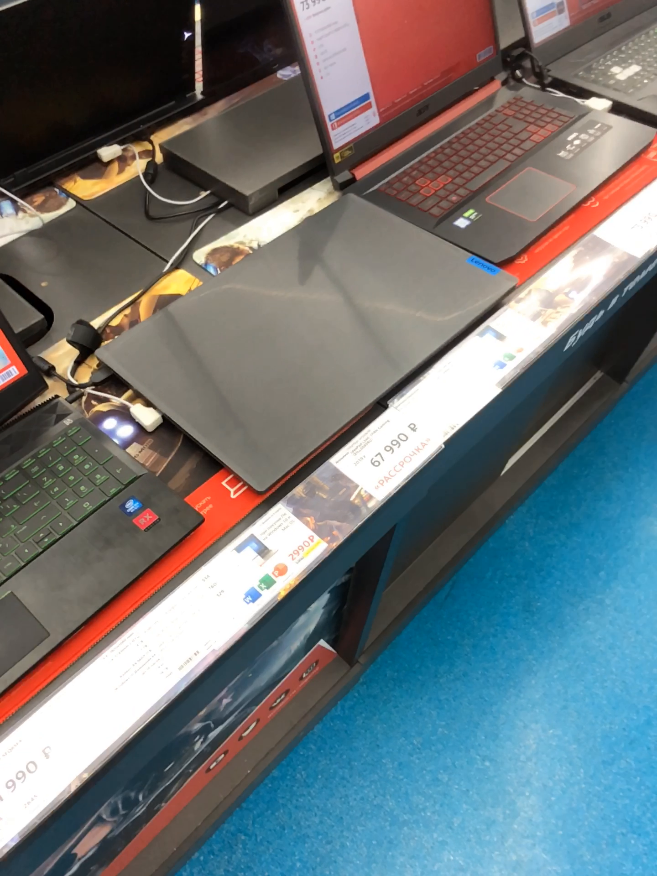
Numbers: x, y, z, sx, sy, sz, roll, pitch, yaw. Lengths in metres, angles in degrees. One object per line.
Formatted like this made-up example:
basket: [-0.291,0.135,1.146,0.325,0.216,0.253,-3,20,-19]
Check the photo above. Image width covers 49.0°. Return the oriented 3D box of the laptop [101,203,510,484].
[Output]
laptop: [-0.019,-0.137,0.824,0.269,0.002,0.390,35,60,28]
